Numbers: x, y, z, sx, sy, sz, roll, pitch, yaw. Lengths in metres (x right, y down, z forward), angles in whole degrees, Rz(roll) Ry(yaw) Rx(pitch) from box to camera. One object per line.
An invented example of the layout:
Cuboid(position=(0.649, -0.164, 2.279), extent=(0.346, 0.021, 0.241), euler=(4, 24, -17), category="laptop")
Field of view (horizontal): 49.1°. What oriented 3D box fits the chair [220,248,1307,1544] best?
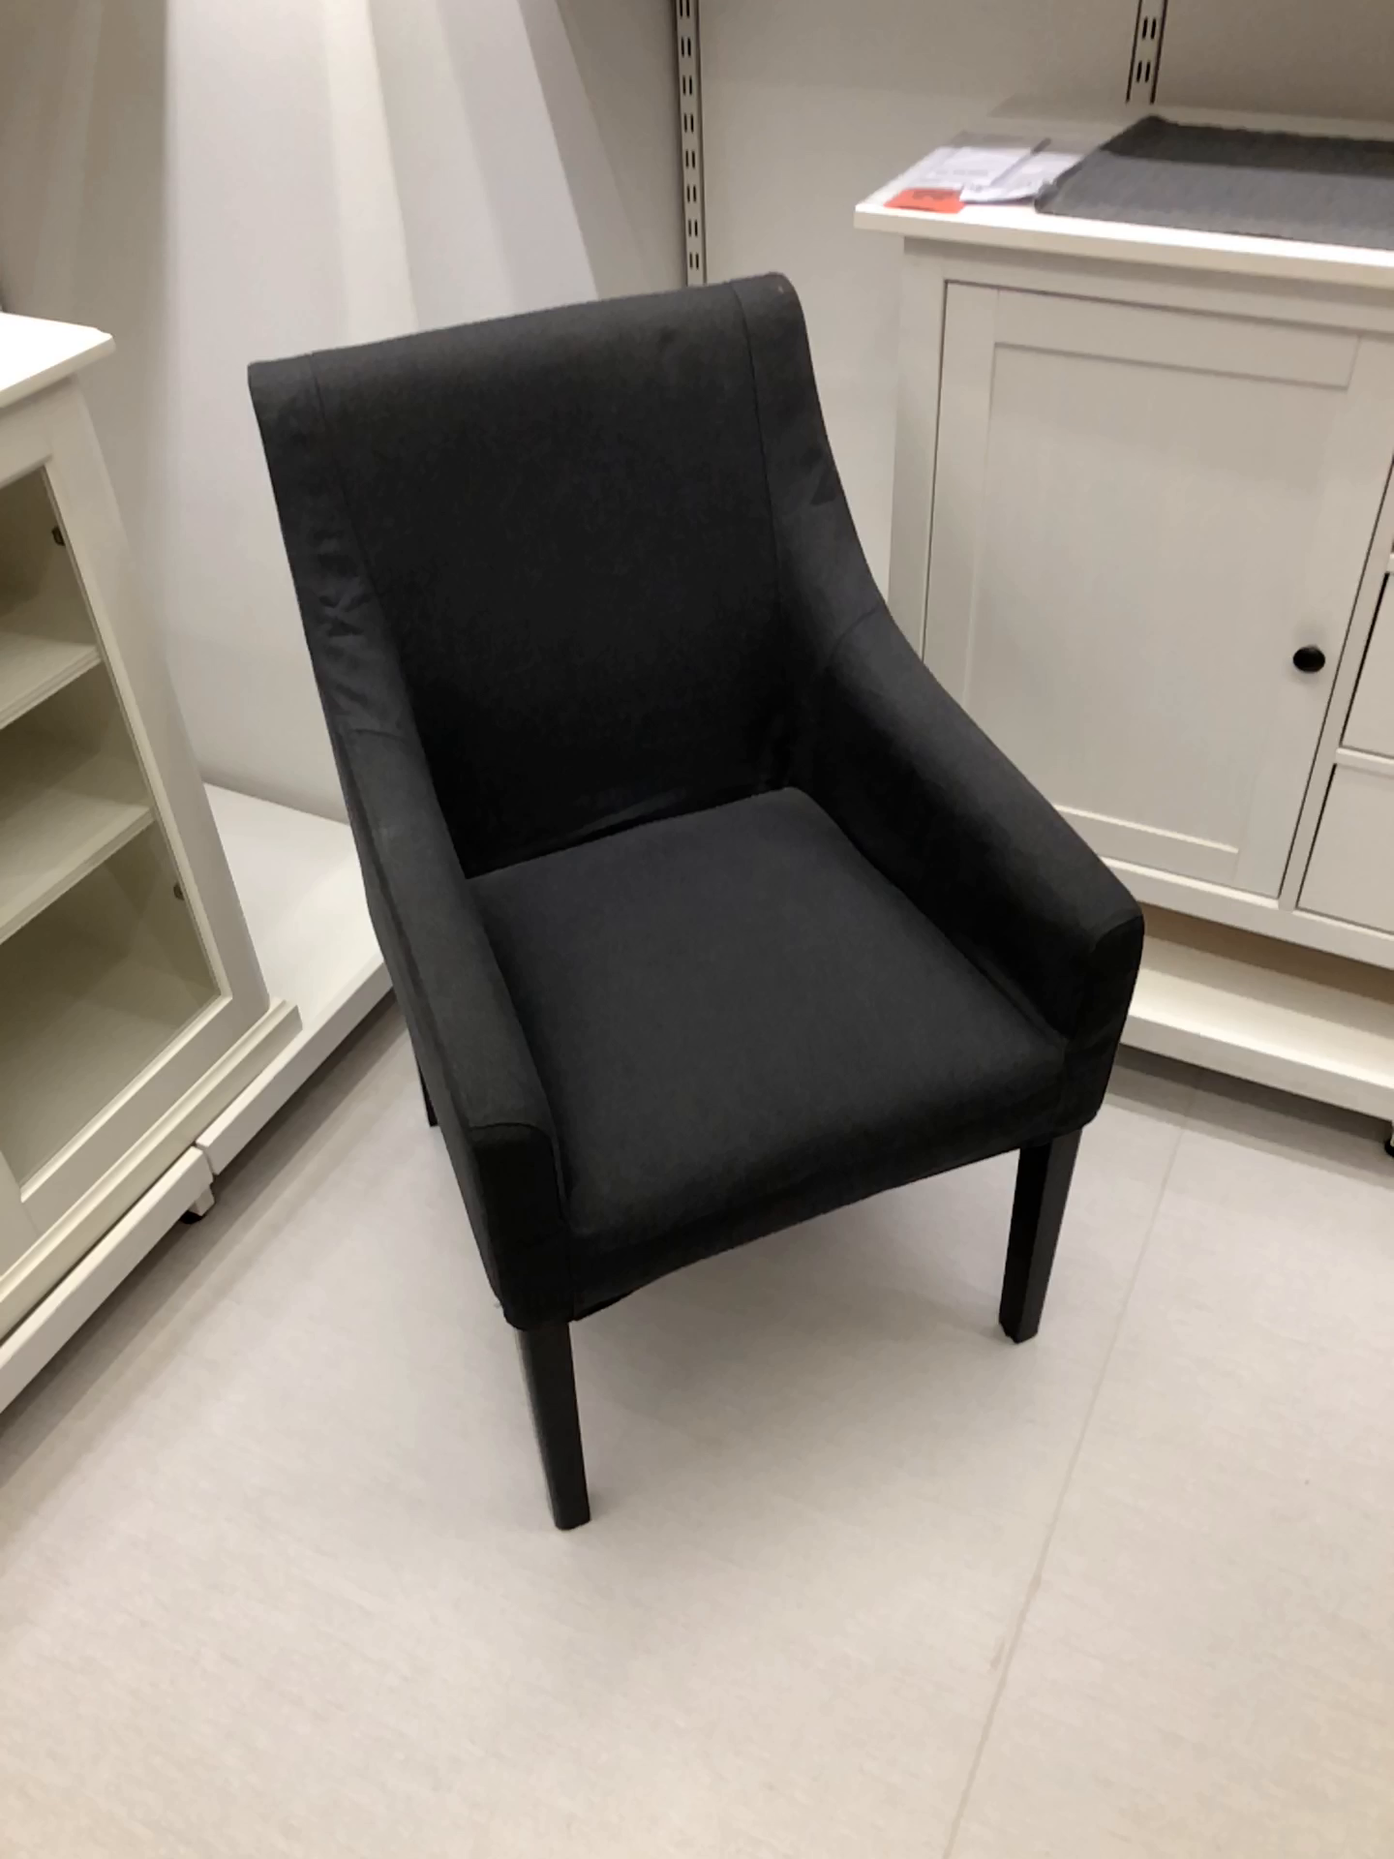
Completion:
Cuboid(position=(0.014, -0.040, 1.422), extent=(0.610, 0.884, 0.624), euler=(-16, 42, -15), category="chair")
